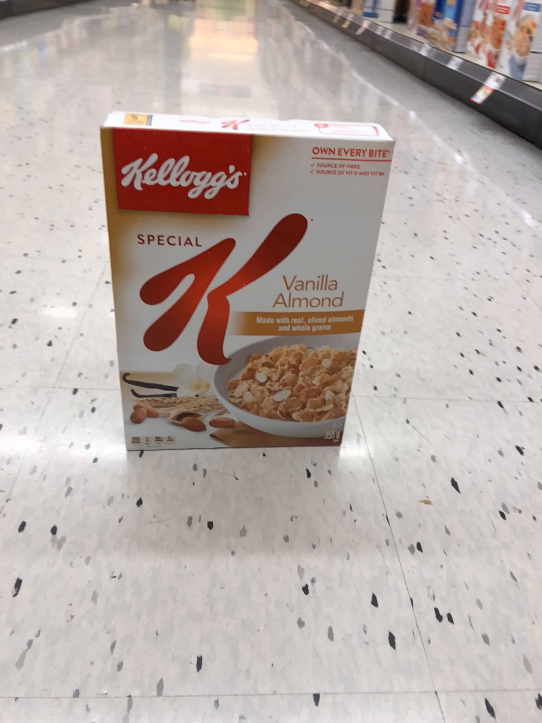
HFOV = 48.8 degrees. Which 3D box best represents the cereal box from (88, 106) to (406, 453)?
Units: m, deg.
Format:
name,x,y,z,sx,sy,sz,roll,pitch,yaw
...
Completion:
name,x,y,z,sx,sy,sz,roll,pitch,yaw
cereal box,-0.024,-0.048,0.461,0.200,0.258,0.050,0,31,-8
